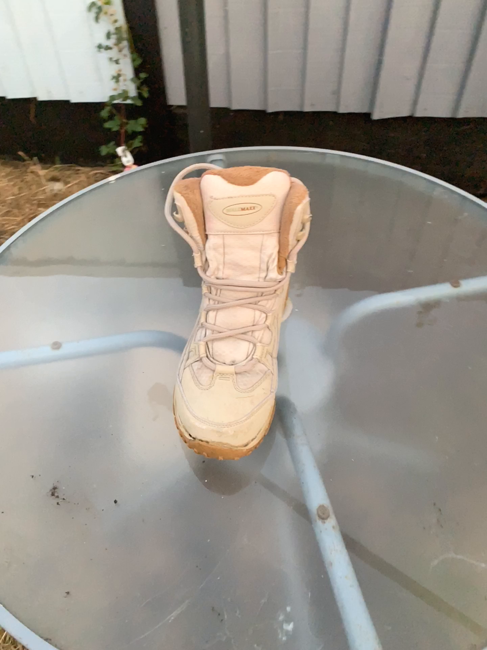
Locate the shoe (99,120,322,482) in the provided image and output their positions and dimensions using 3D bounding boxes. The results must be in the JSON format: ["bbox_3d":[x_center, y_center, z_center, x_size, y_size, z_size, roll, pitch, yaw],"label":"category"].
[{"bbox_3d":[-0.005,-0.034,0.483,0.120,0.198,0.282,7,48,9],"label":"shoe"}]
